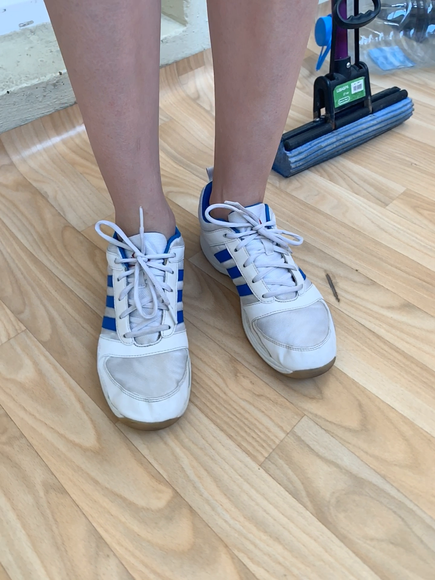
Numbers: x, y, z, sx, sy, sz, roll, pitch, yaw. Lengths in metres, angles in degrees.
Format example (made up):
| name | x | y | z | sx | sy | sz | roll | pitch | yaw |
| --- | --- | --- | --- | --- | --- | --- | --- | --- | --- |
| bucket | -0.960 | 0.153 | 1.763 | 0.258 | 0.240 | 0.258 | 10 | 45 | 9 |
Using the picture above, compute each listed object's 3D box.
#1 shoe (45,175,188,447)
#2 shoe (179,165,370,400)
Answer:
| name | x | y | z | sx | sy | sz | roll | pitch | yaw |
| --- | --- | --- | --- | --- | --- | --- | --- | --- | --- |
| shoe | -0.086 | 0.008 | 0.464 | 0.100 | 0.120 | 0.261 | -3 | 47 | -3 |
| shoe | 0.044 | -0.025 | 0.503 | 0.100 | 0.090 | 0.261 | -15 | 49 | -13 |
